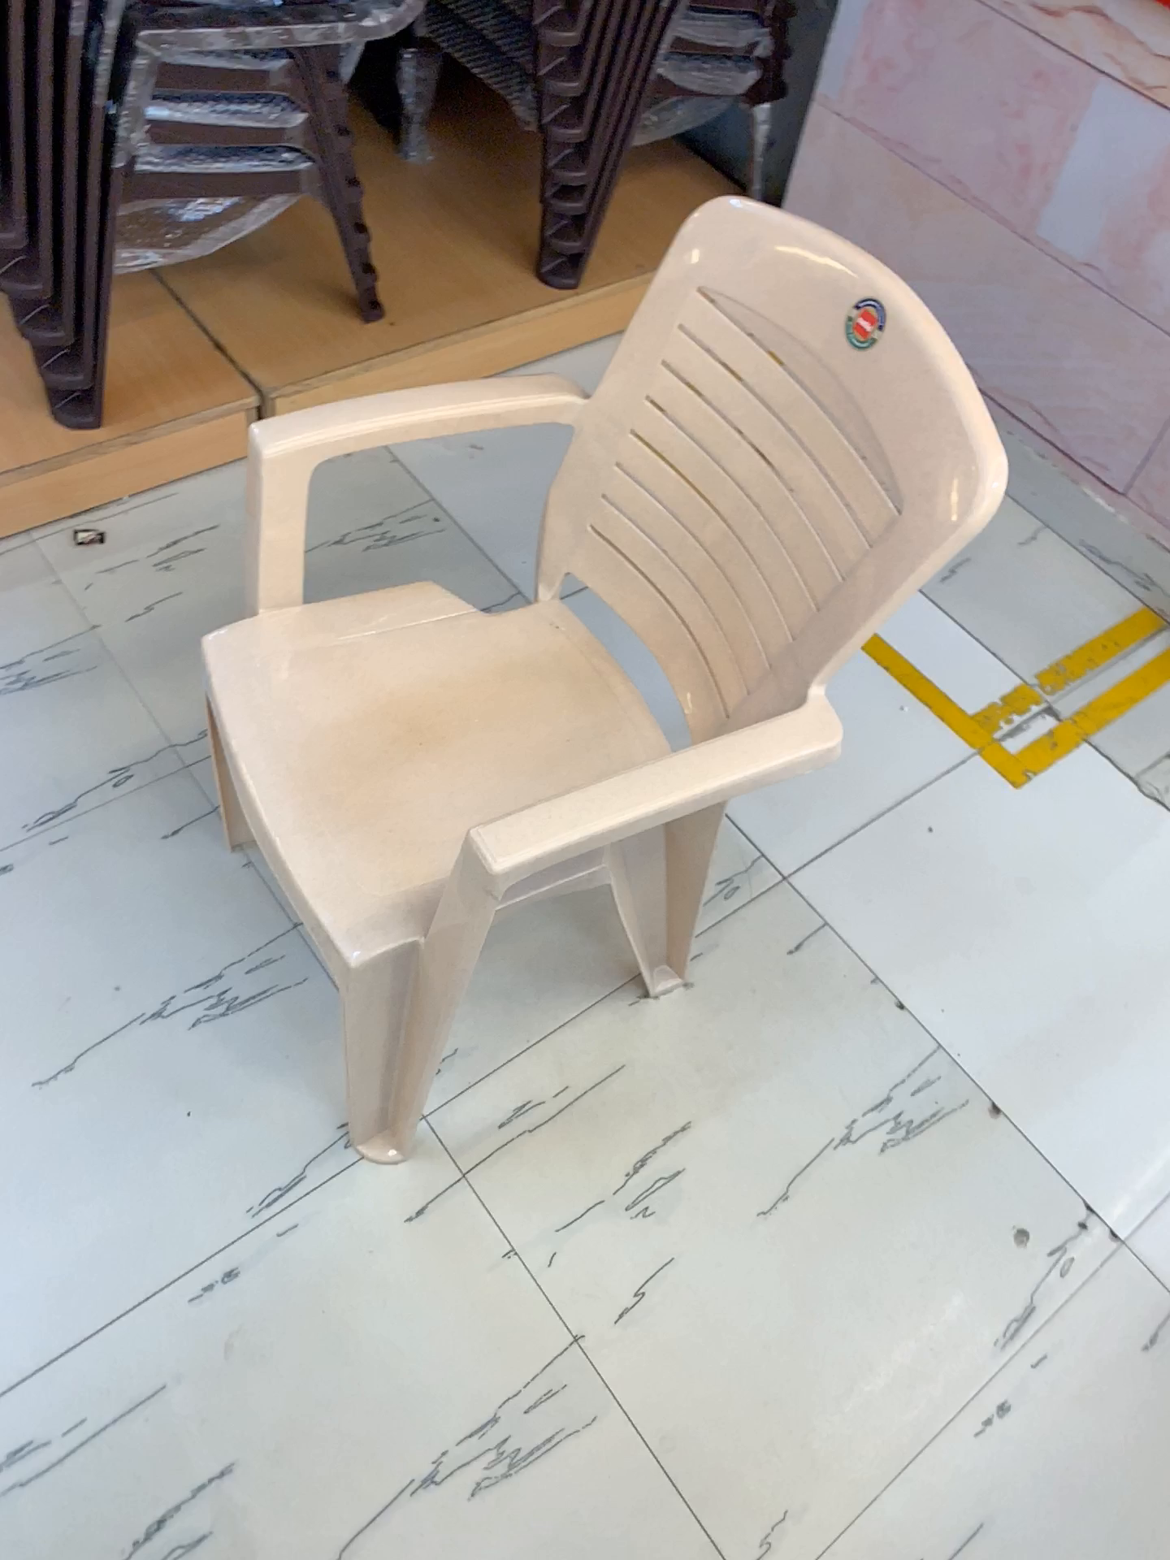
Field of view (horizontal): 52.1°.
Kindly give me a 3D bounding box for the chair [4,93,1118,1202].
[{"bbox_3d":[-0.077,-0.106,1.177,0.621,0.775,0.573,-20,59,-22],"label":"chair"}]
